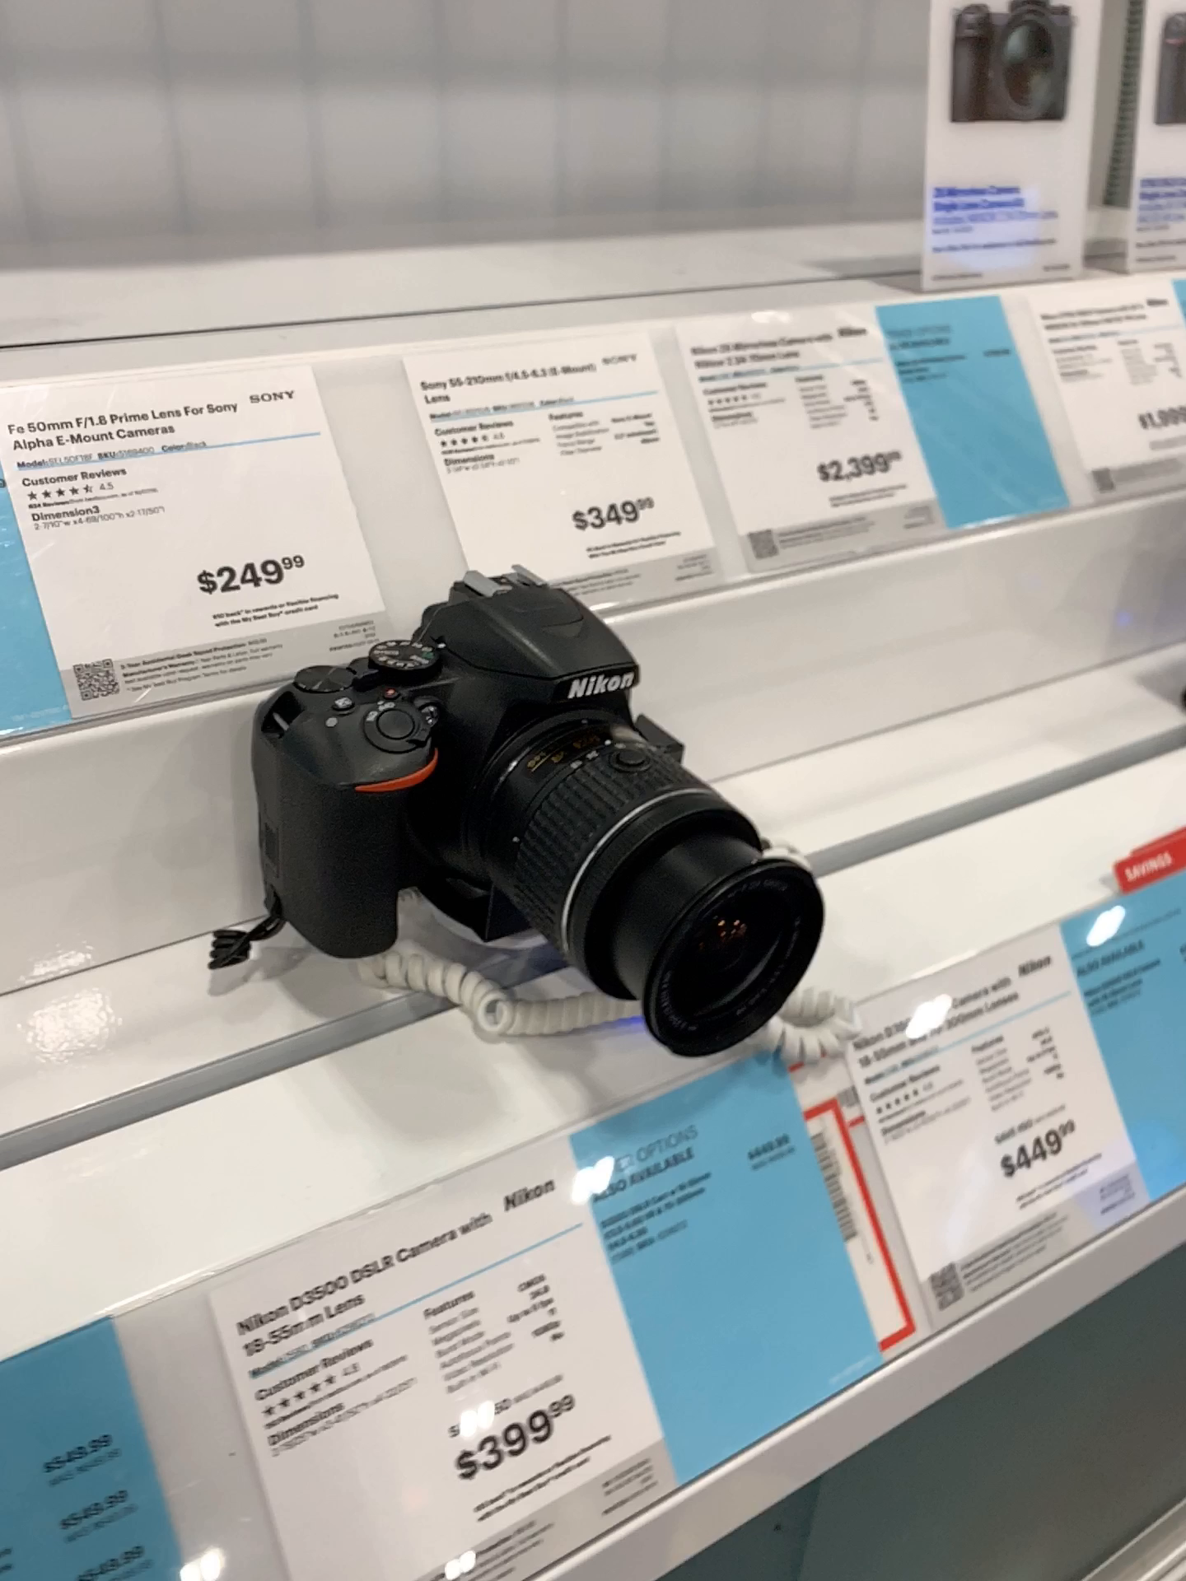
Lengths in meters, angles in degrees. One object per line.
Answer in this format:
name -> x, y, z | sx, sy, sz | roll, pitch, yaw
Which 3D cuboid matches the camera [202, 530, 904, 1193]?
camera -> -0.017, 0.005, 0.361 | 0.130, 0.099, 0.151 | -19, 36, -30
